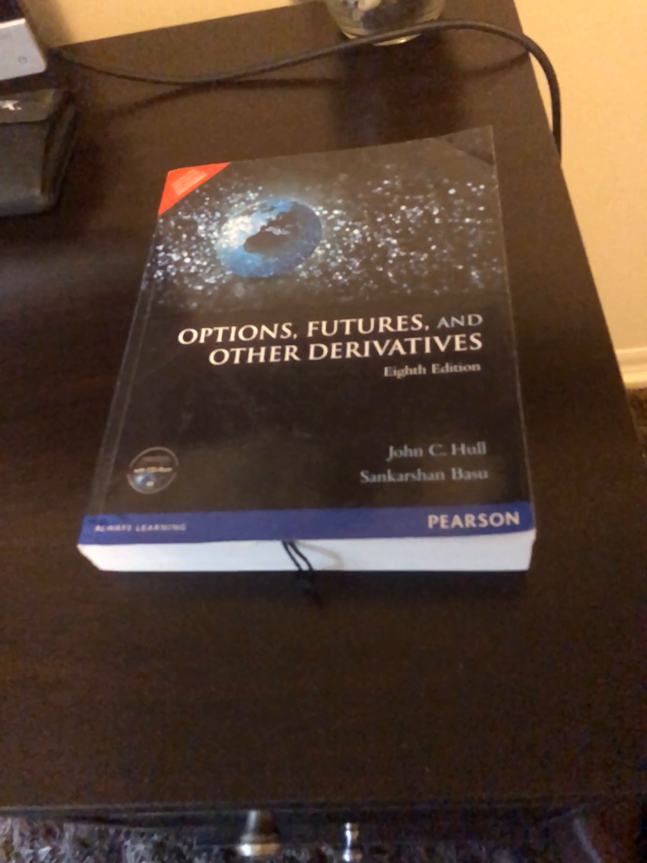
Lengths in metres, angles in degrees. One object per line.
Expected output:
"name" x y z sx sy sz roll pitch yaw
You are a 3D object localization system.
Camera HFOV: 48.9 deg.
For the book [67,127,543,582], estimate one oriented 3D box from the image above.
"book" -0.003 -0.052 0.392 0.207 0.050 0.262 -2 59 9
